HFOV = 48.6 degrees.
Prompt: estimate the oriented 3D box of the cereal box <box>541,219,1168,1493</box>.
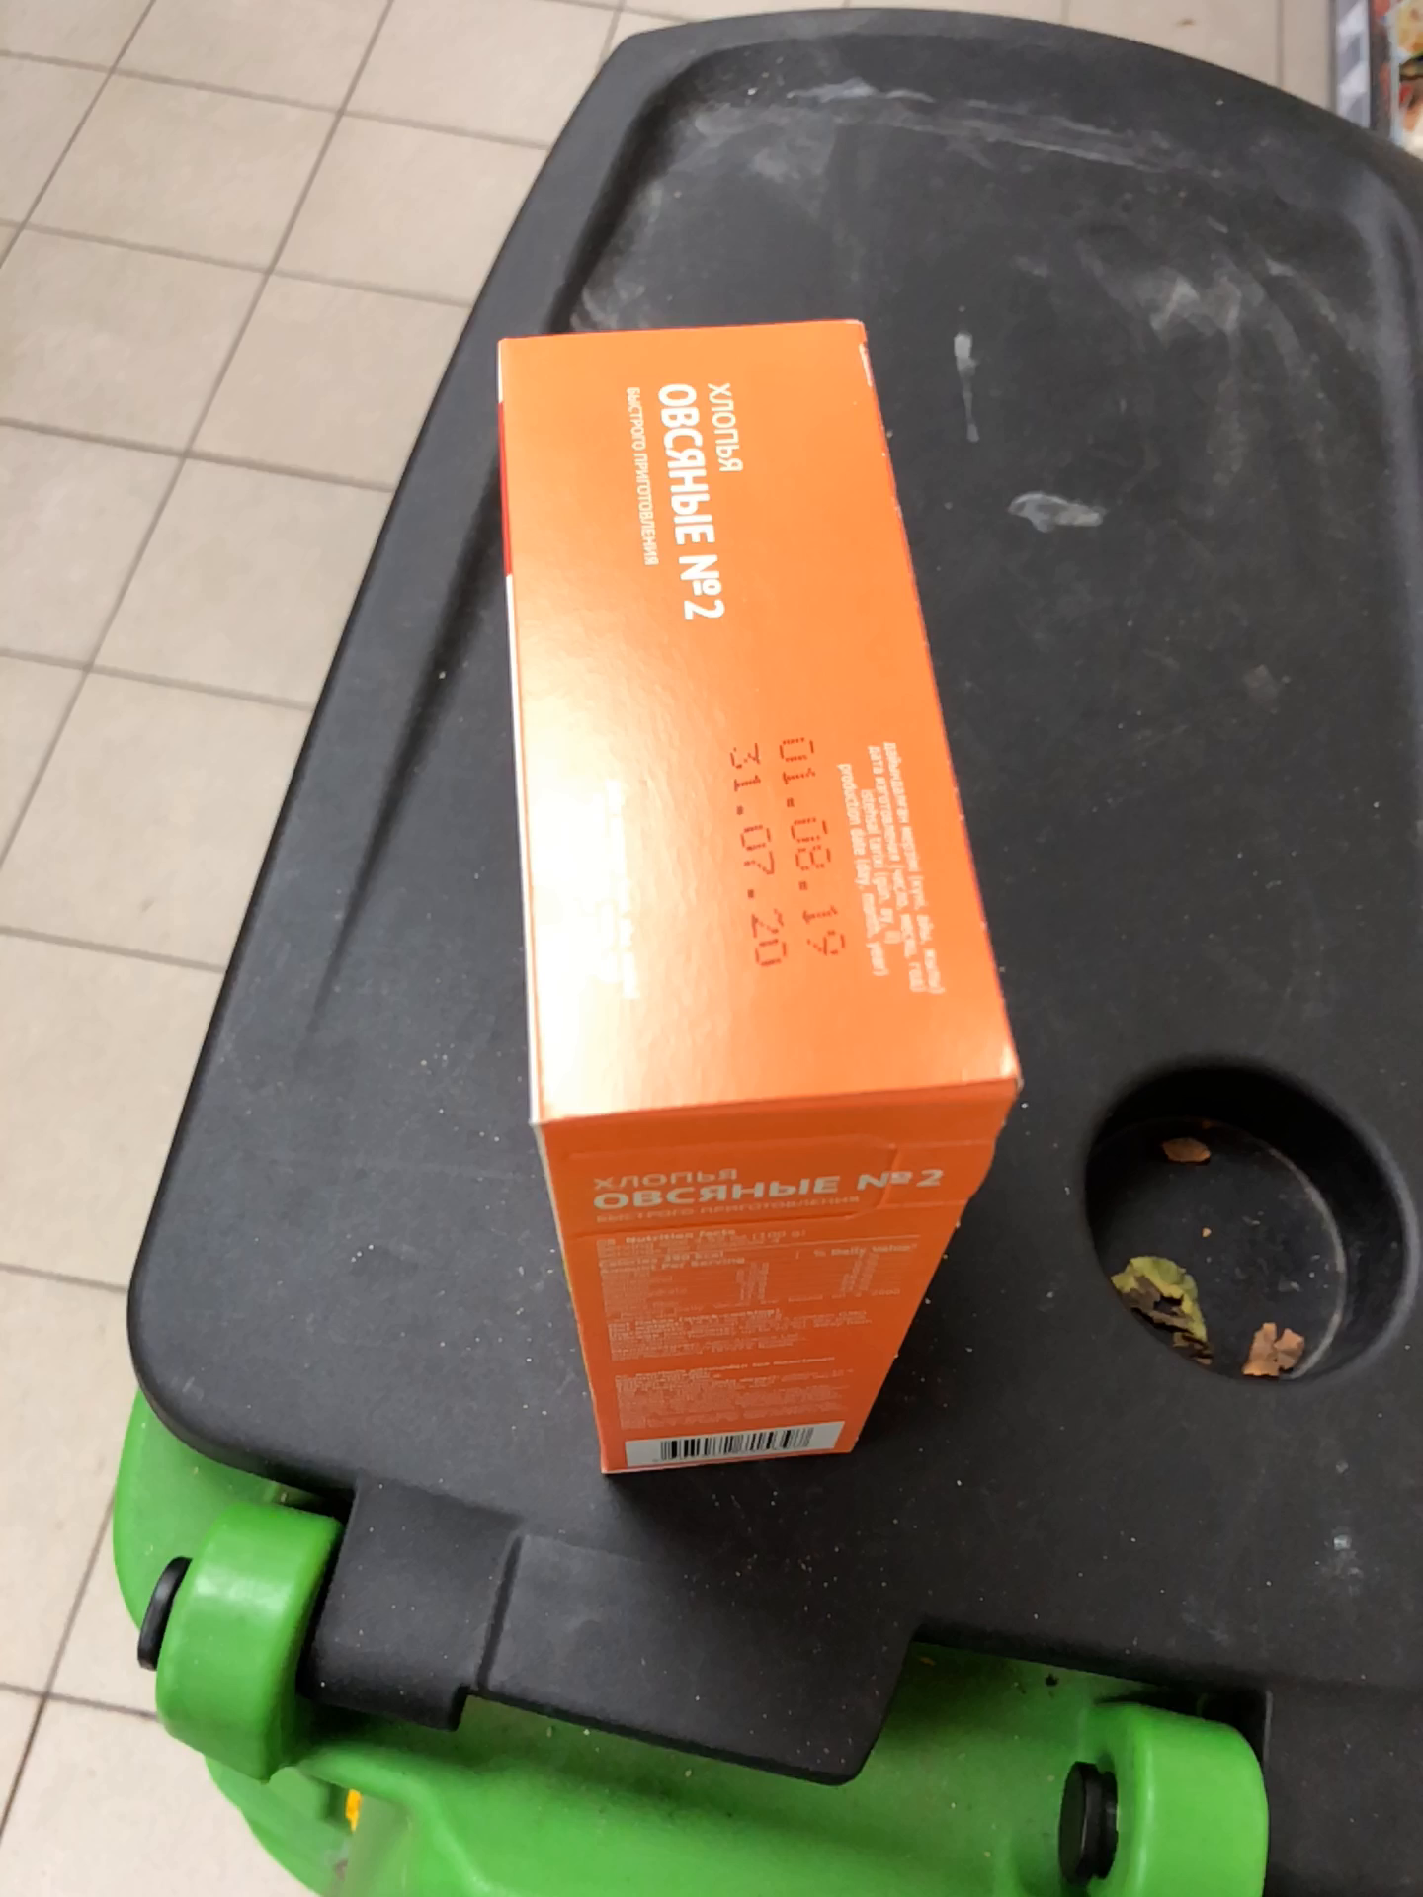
[{"bbox_3d":[0.008,0.004,0.299,0.060,0.209,0.151,-5,62,-5],"label":"cereal box"}]
